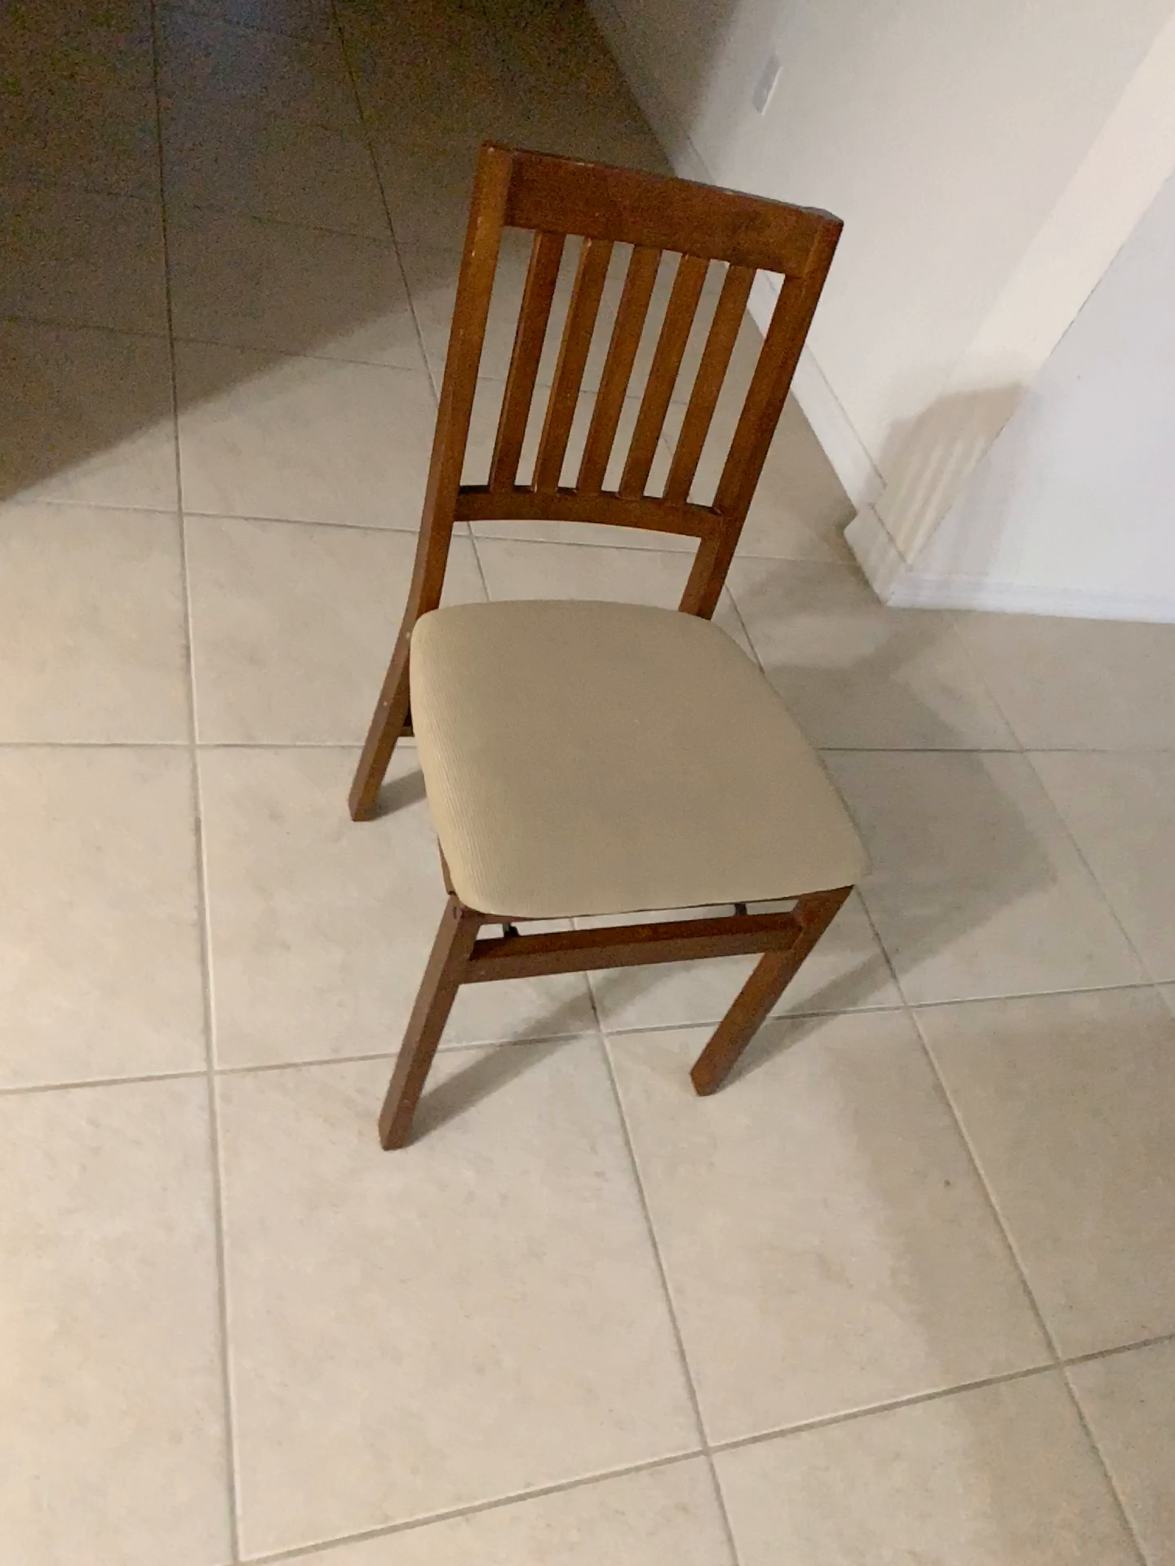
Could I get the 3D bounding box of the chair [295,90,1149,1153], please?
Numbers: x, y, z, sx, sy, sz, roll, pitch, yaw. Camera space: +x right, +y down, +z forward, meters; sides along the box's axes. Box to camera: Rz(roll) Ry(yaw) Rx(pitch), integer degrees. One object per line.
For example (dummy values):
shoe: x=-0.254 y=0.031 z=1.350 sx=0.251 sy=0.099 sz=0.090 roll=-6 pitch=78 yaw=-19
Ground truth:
chair: x=-0.002 y=-0.096 z=1.270 sx=0.451 sy=0.881 sz=0.594 roll=-1 pitch=52 yaw=-22
